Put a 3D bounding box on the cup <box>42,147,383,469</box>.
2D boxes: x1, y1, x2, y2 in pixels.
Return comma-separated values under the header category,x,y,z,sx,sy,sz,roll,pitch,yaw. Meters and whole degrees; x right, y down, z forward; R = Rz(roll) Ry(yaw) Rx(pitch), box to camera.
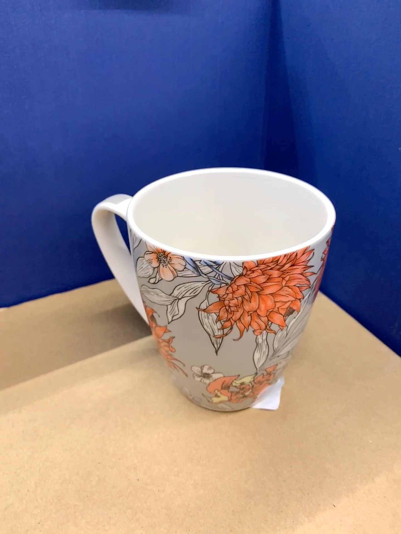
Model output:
category,x,y,z,sx,sy,sz,roll,pitch,yaw
cup,0.004,0.005,0.206,0.117,0.085,0.092,24,39,33
